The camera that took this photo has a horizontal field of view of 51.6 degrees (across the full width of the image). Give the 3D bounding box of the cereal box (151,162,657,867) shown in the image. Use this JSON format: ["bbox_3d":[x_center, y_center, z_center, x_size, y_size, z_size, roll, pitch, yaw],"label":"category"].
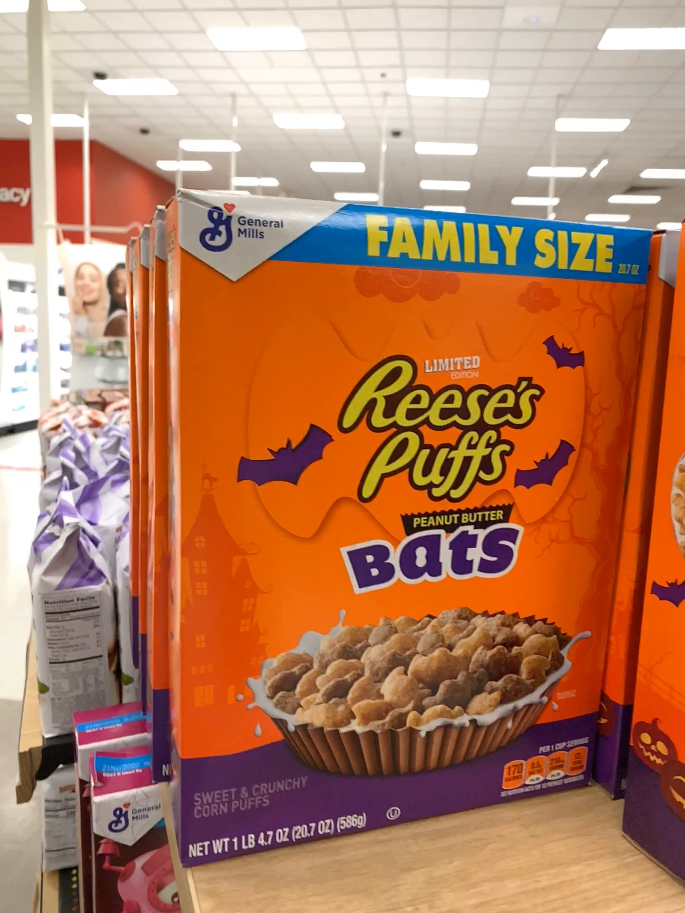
[{"bbox_3d":[0.026,0.028,0.373,0.240,0.309,0.070,-1,10,-19],"label":"cereal box"}]
